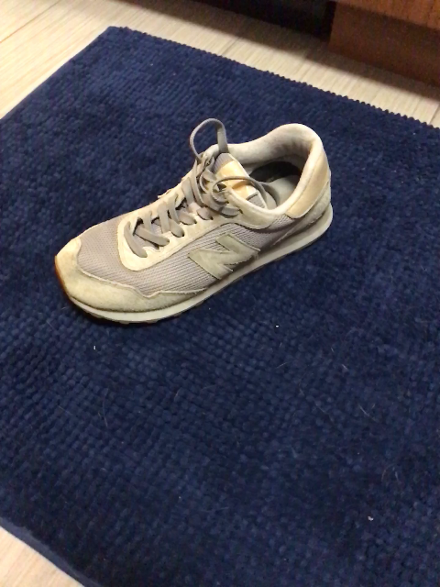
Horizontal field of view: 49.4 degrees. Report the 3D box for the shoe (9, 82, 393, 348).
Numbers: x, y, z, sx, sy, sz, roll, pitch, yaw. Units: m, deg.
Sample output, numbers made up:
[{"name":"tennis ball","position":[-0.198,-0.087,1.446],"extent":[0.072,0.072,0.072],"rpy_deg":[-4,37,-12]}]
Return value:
[{"name":"shoe","position":[-0.017,-0.075,0.425],"extent":[0.280,0.099,0.131],"rpy_deg":[-18,59,-11]}]
